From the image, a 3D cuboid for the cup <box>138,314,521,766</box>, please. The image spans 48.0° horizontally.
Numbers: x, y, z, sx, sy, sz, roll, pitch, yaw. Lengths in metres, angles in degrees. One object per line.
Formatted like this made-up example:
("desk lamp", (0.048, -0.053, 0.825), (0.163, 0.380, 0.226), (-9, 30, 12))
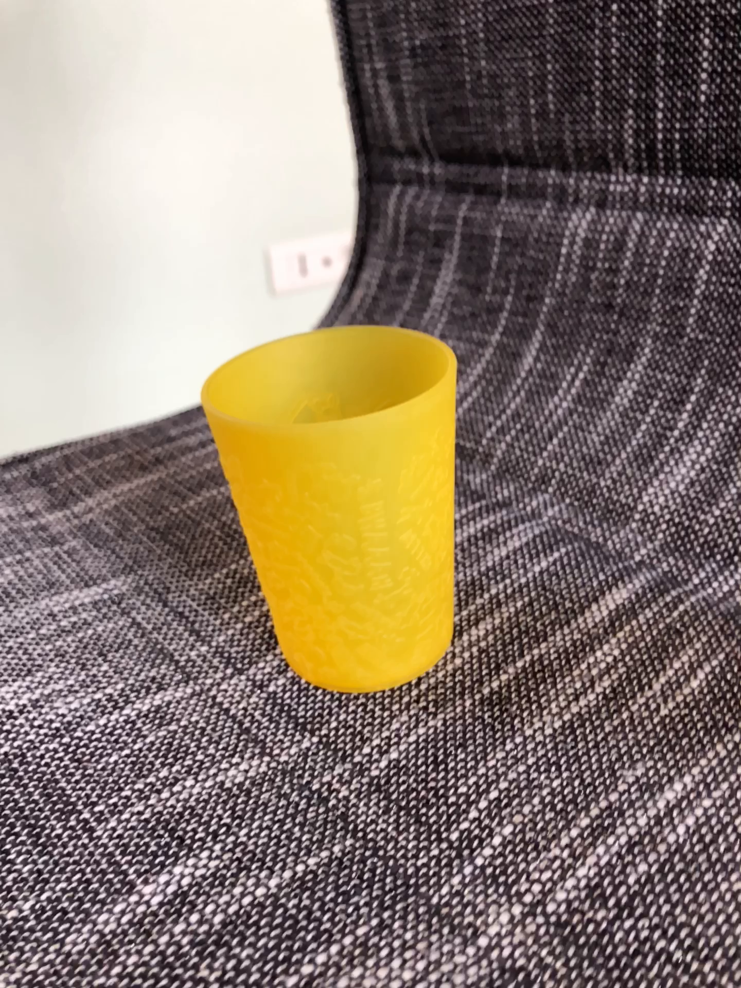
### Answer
("cup", (-0.005, 0.007, 0.208), (0.060, 0.080, 0.060), (-6, 31, 4))
